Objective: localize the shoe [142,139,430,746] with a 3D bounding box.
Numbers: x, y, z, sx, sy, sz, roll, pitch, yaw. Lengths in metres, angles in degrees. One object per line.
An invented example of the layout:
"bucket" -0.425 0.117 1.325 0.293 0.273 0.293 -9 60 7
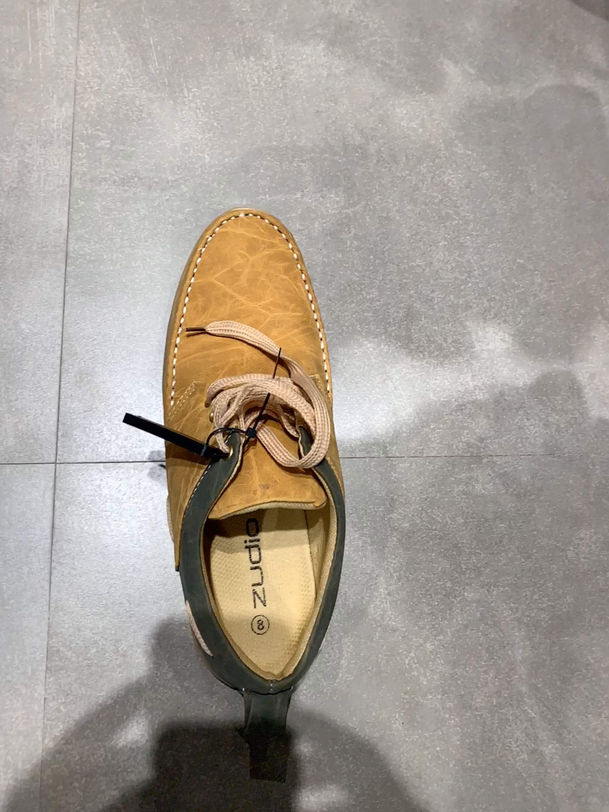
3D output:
"shoe" -0.024 0.013 0.335 0.111 0.117 0.267 -2 76 -11
